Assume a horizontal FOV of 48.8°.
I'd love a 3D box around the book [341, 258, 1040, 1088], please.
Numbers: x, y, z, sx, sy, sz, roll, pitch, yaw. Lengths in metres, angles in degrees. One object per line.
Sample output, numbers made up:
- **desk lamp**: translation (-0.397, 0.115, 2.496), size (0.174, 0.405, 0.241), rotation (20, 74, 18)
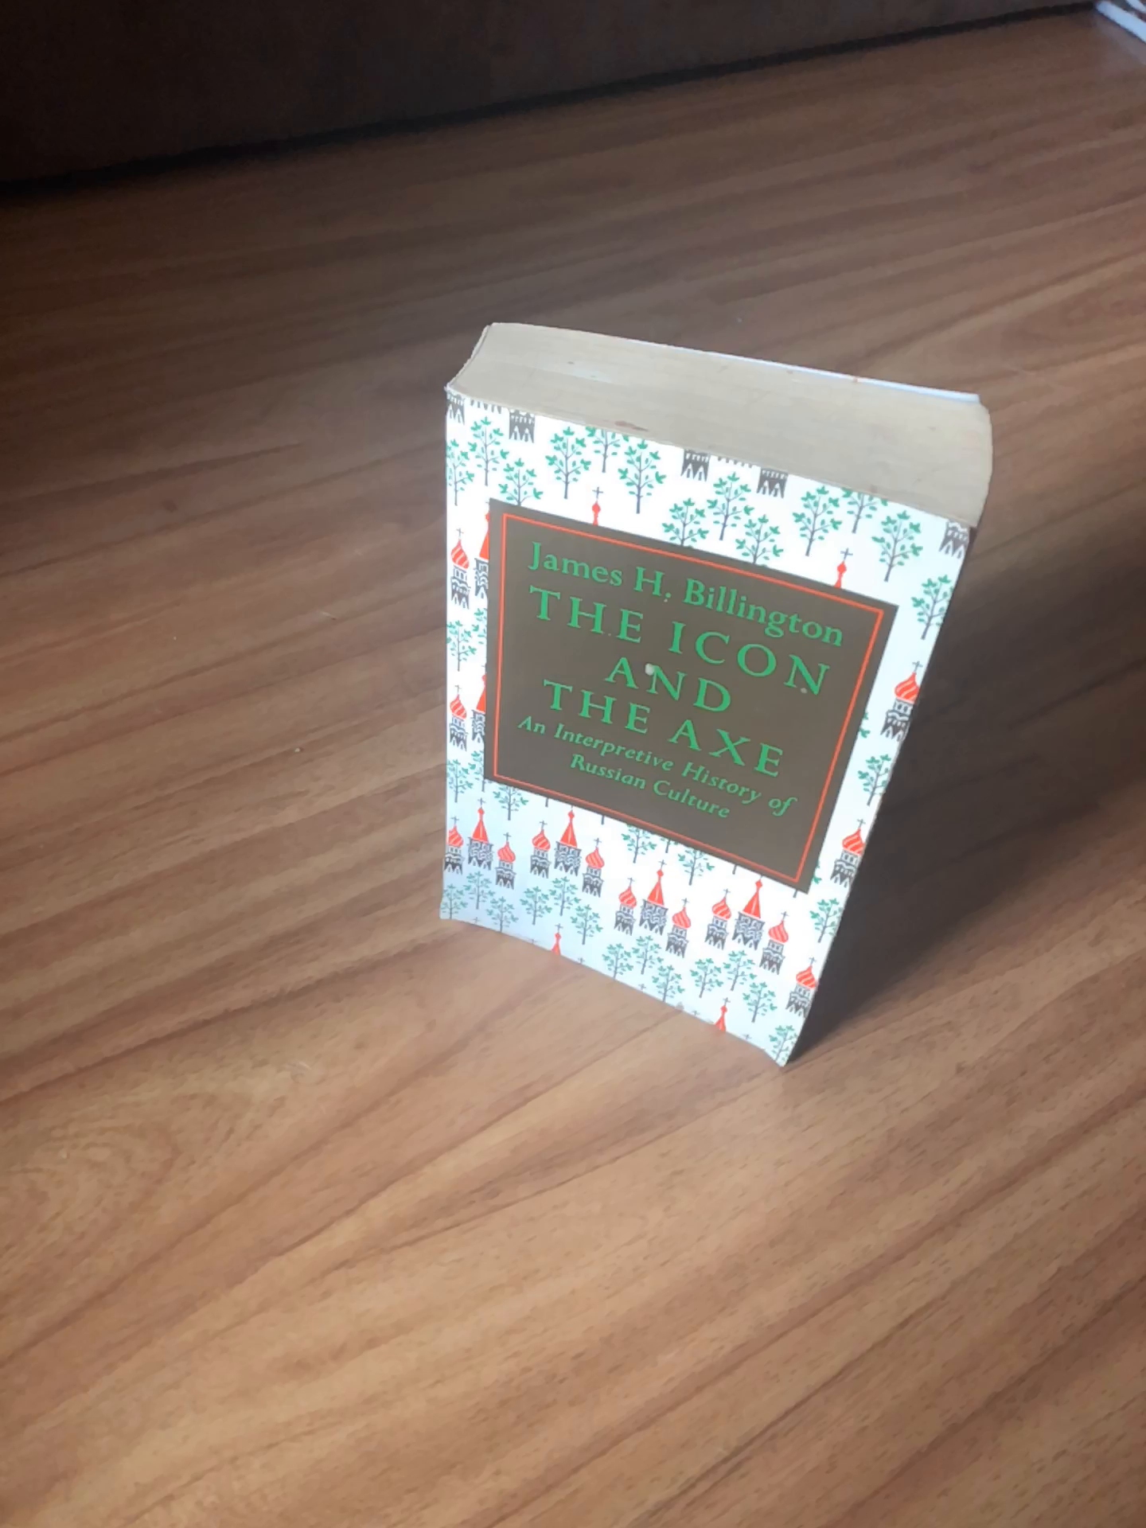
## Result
- **book**: translation (0.021, -0.017, 0.358), size (0.150, 0.199, 0.060), rotation (20, 44, 15)
